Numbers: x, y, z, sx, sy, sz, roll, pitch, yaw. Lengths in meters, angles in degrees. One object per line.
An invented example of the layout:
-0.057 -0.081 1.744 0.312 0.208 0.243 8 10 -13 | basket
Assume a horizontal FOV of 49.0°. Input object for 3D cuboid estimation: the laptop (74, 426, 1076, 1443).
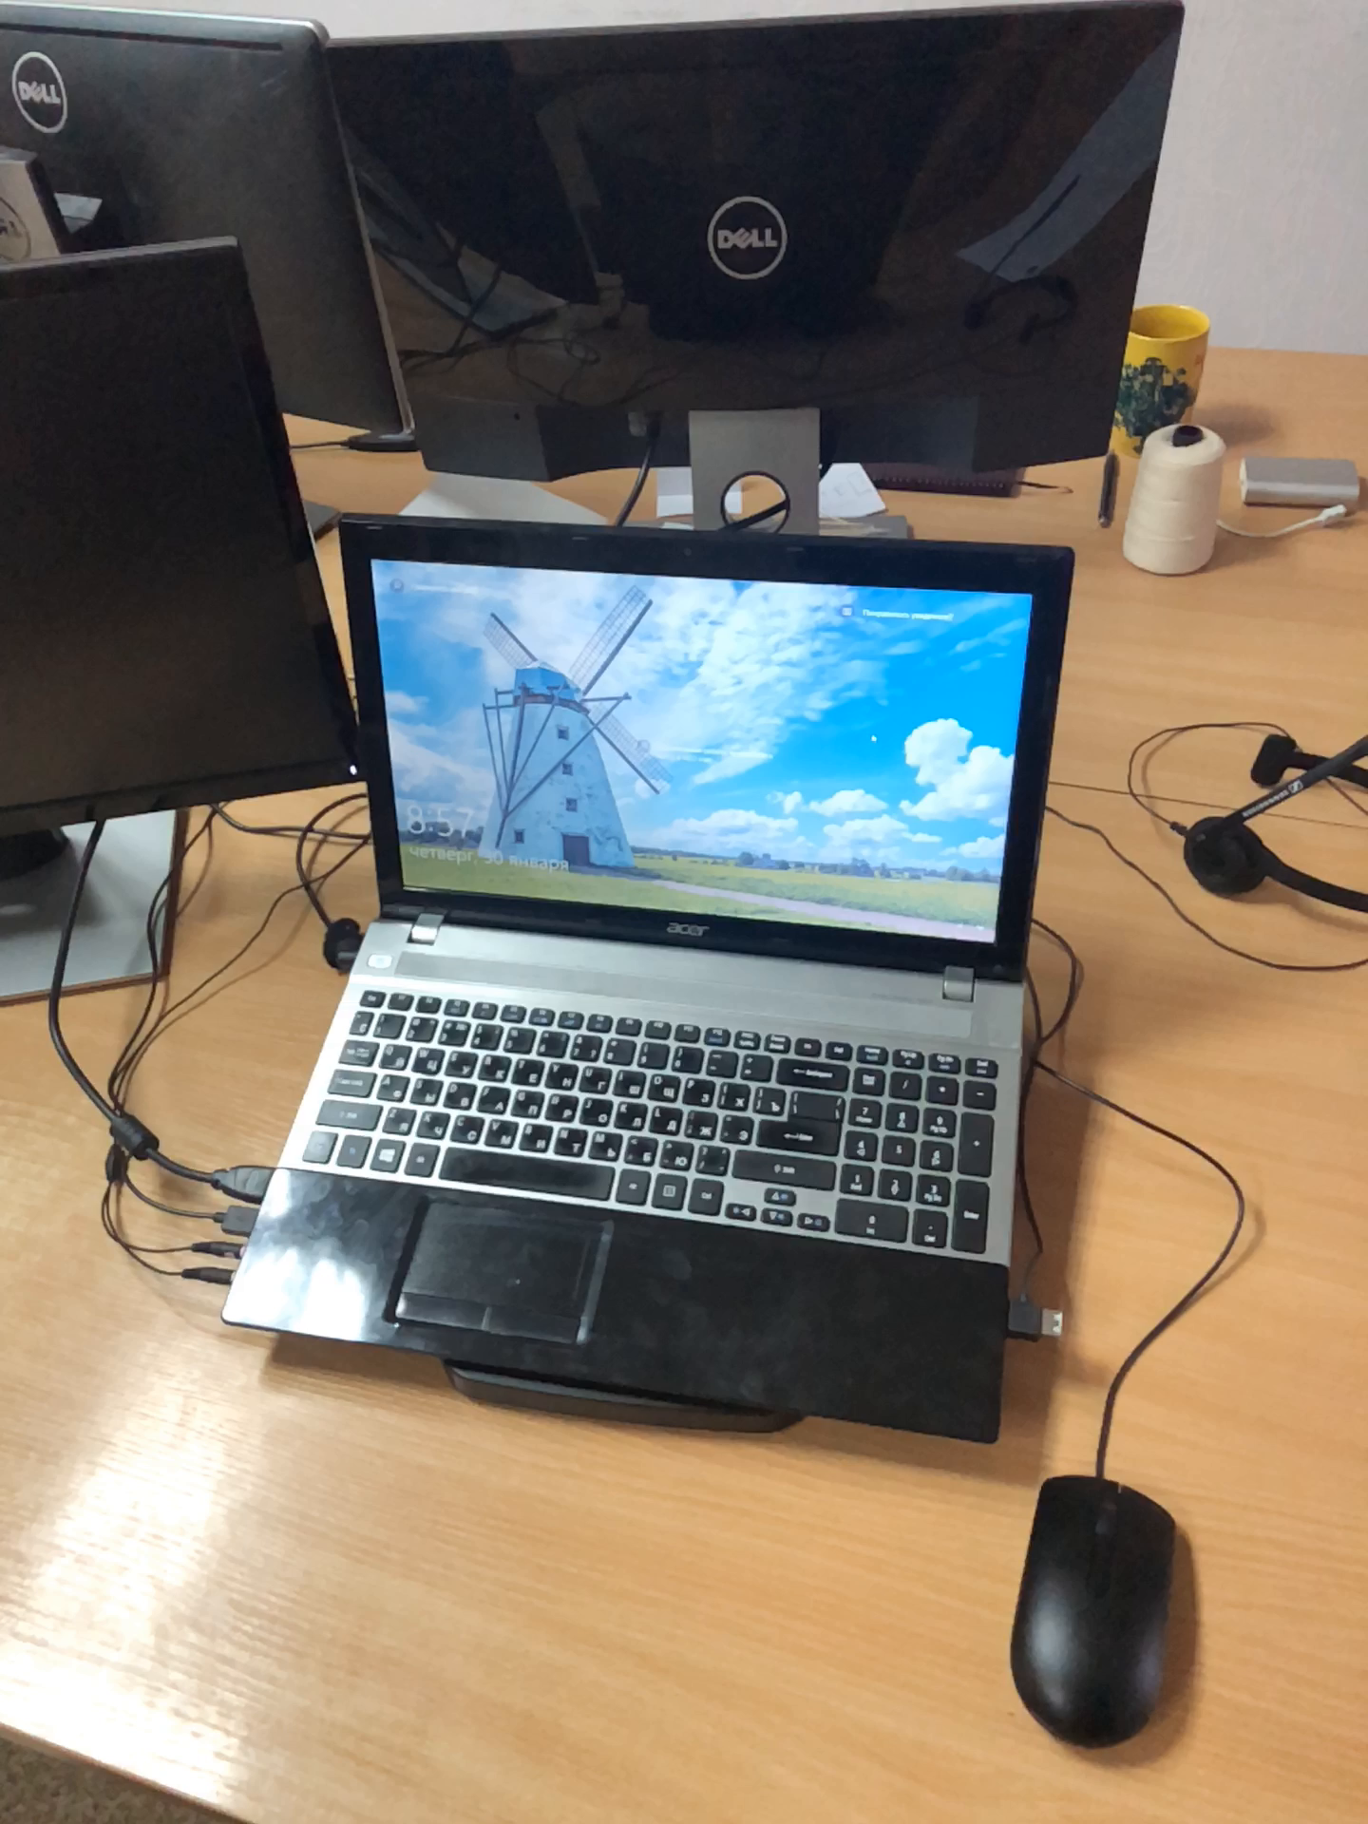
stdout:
-0.019 -0.009 0.726 0.373 0.211 0.361 5 53 10 | laptop
